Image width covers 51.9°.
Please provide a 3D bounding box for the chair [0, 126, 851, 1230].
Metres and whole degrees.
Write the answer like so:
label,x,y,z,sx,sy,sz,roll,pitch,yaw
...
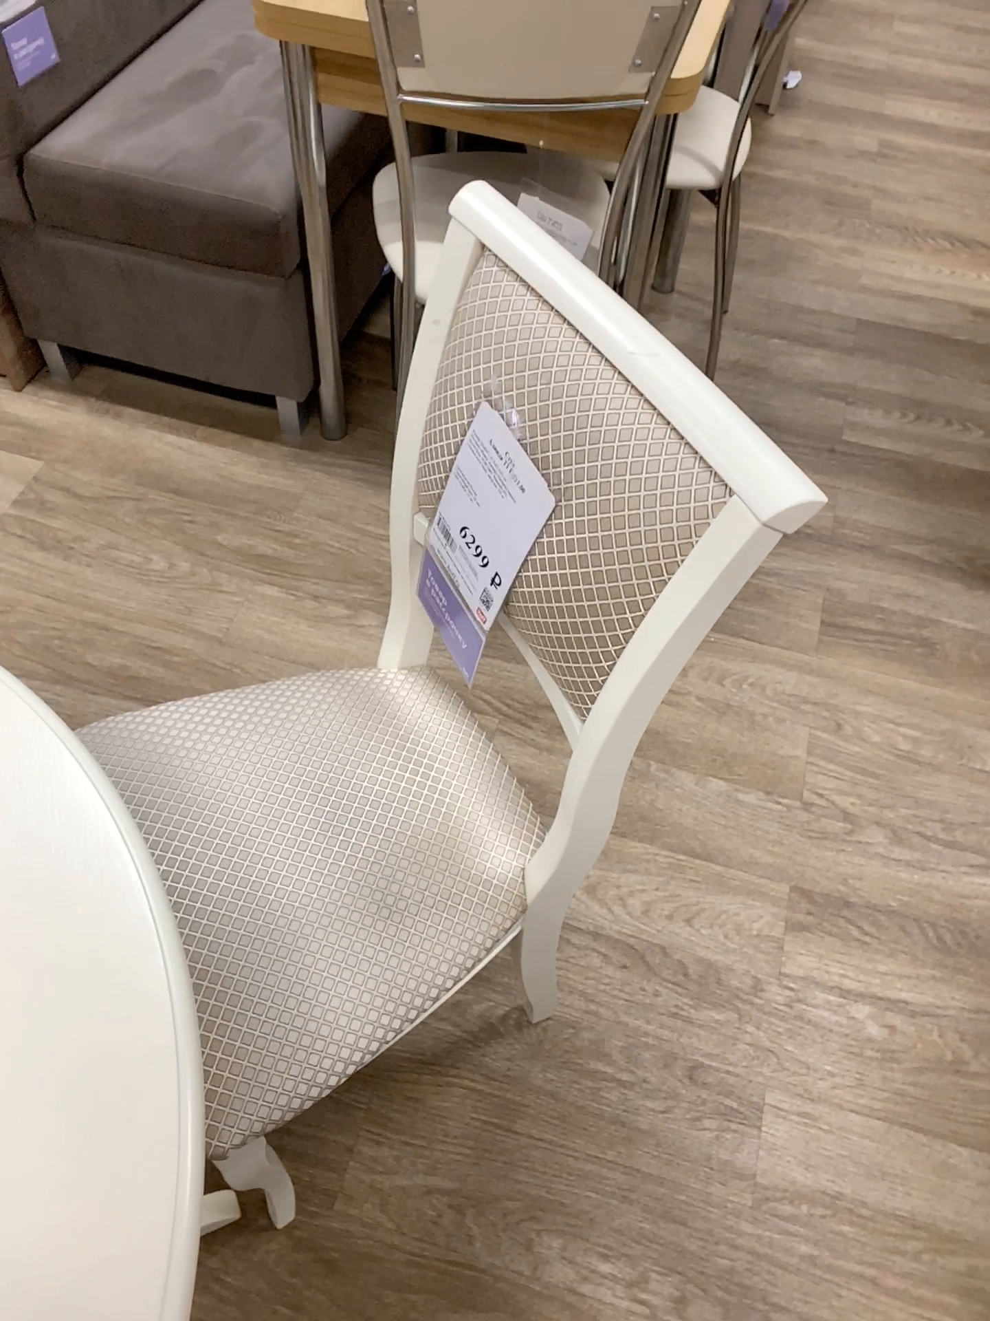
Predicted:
label,x,y,z,sx,sy,sz,roll,pitch,yaw
chair,-0.148,0.102,0.987,0.511,0.906,0.461,-29,60,-22
